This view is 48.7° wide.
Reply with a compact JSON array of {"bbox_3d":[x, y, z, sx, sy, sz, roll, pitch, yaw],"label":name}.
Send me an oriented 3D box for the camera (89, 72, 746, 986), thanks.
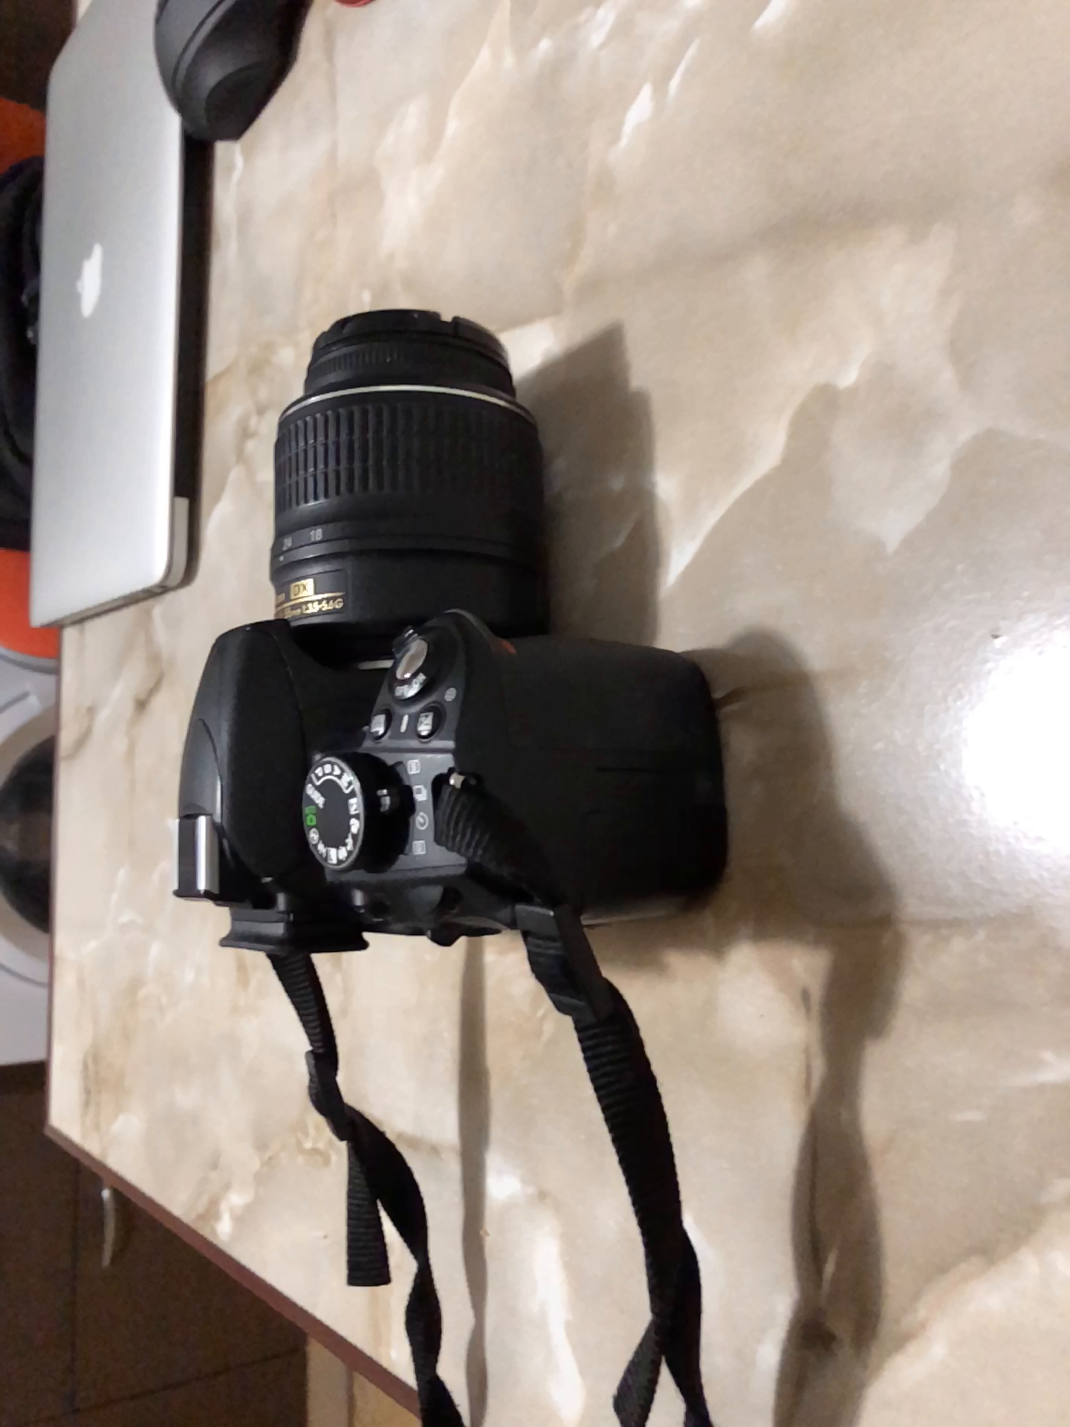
[{"bbox_3d":[-0.036,-0.025,0.281,0.126,0.099,0.160,-12,78,54],"label":"camera"}]
